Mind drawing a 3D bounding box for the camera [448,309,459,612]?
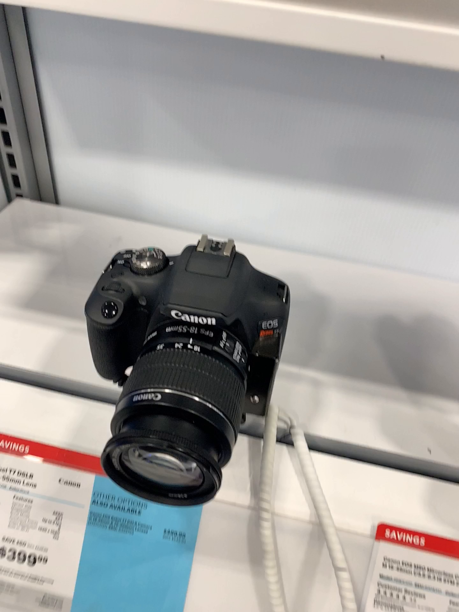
[{"bbox_3d":[0.201,0.080,0.265,0.121,0.080,0.103,17,44,13],"label":"camera"}]

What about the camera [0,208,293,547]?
[{"bbox_3d":[-0.041,0.033,0.275,0.125,0.100,0.141,11,43,6],"label":"camera"}]
